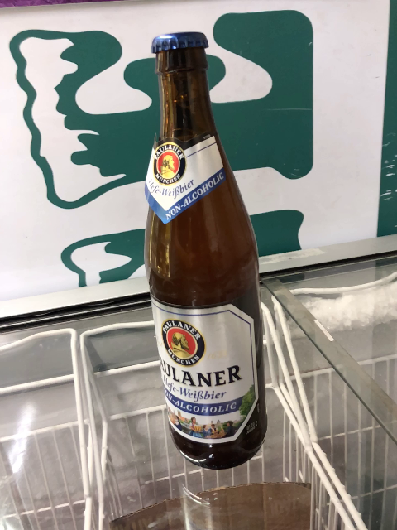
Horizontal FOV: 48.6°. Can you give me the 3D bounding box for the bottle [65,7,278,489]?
[{"bbox_3d":[-0.003,0.000,0.246,0.070,0.238,0.060,7,25,31],"label":"bottle"}]
